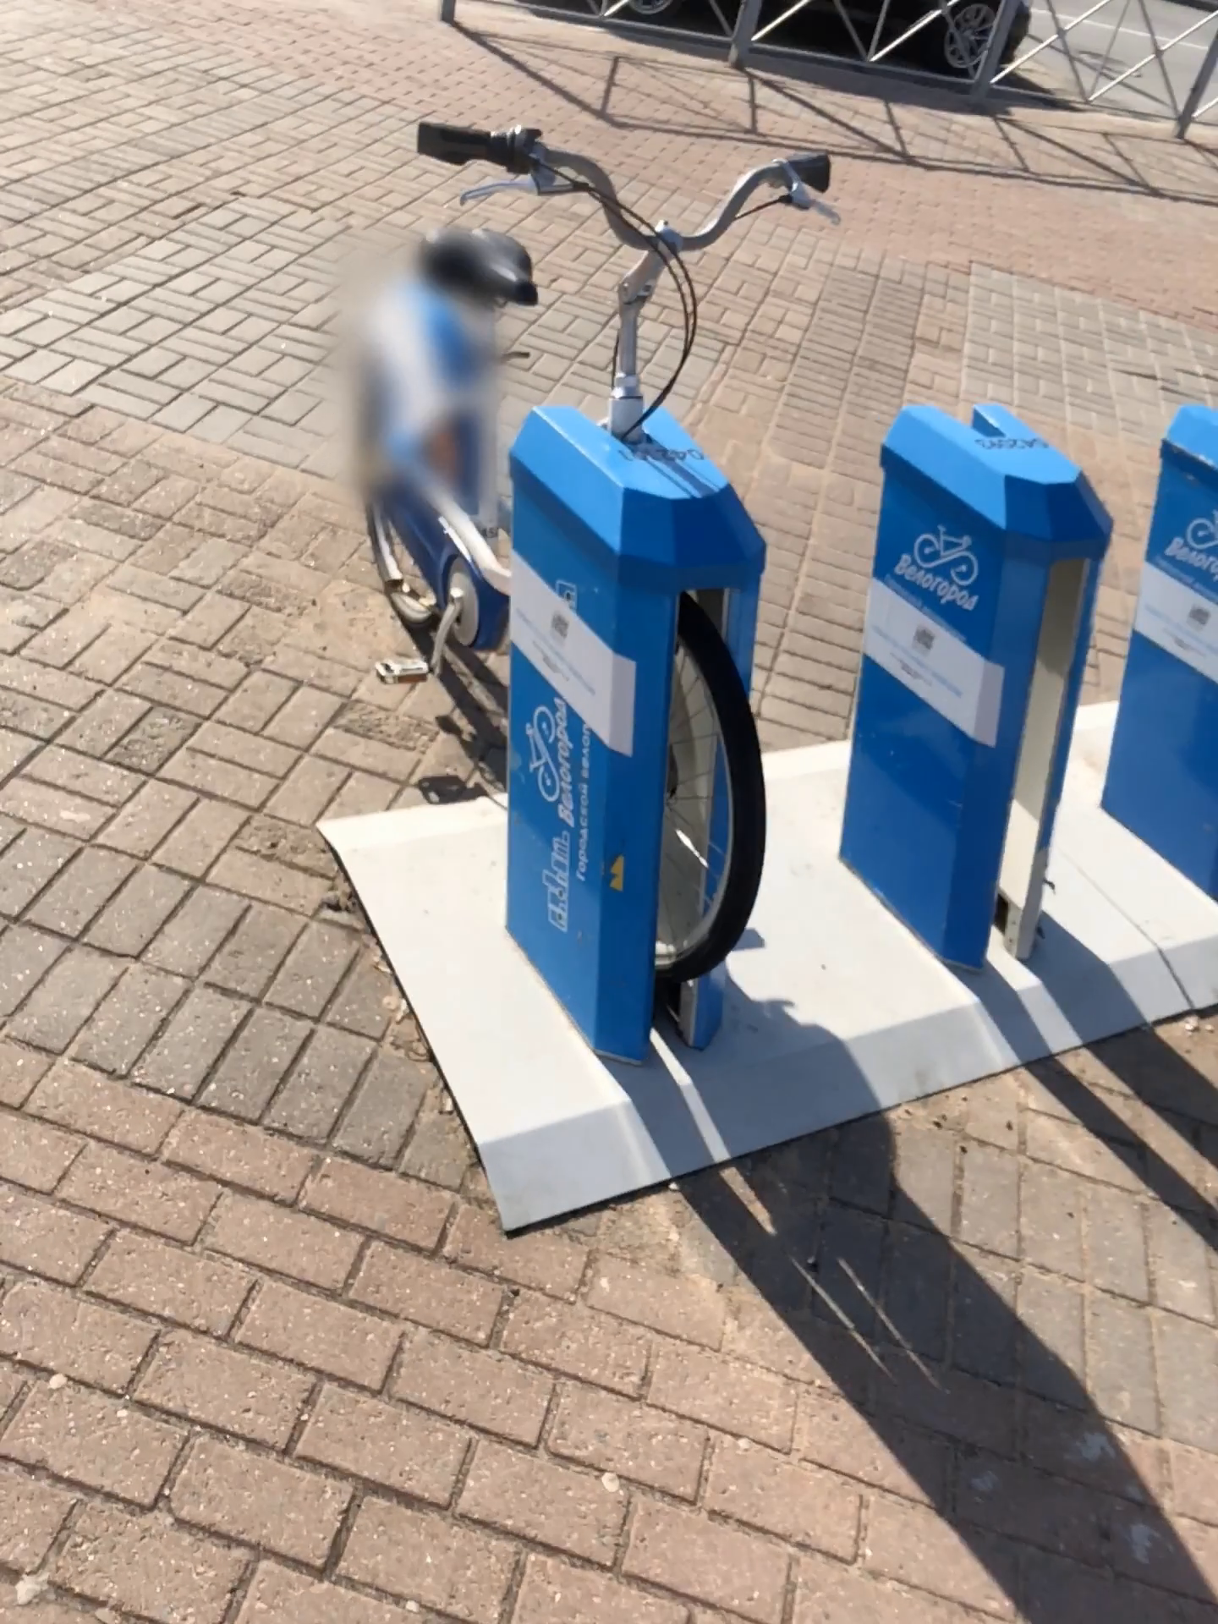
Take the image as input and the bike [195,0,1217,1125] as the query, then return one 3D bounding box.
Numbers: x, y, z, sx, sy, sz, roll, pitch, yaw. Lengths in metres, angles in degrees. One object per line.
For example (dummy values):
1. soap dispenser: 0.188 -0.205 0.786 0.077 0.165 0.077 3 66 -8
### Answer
1. bike: -0.123 -0.562 2.161 0.682 1.233 1.682 -7 40 -27
